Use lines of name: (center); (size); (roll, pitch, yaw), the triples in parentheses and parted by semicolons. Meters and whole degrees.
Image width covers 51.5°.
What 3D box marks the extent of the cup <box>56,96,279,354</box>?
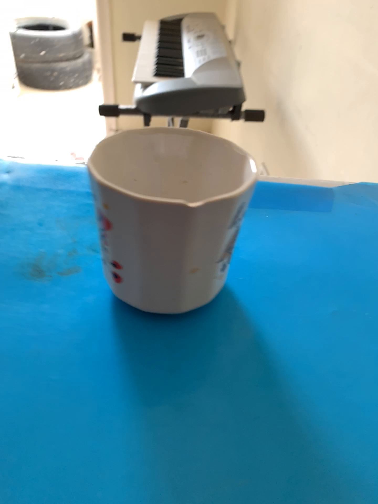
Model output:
cup: (-0.001, -0.020, 0.179); (0.070, 0.059, 0.101); (10, 41, 5)
